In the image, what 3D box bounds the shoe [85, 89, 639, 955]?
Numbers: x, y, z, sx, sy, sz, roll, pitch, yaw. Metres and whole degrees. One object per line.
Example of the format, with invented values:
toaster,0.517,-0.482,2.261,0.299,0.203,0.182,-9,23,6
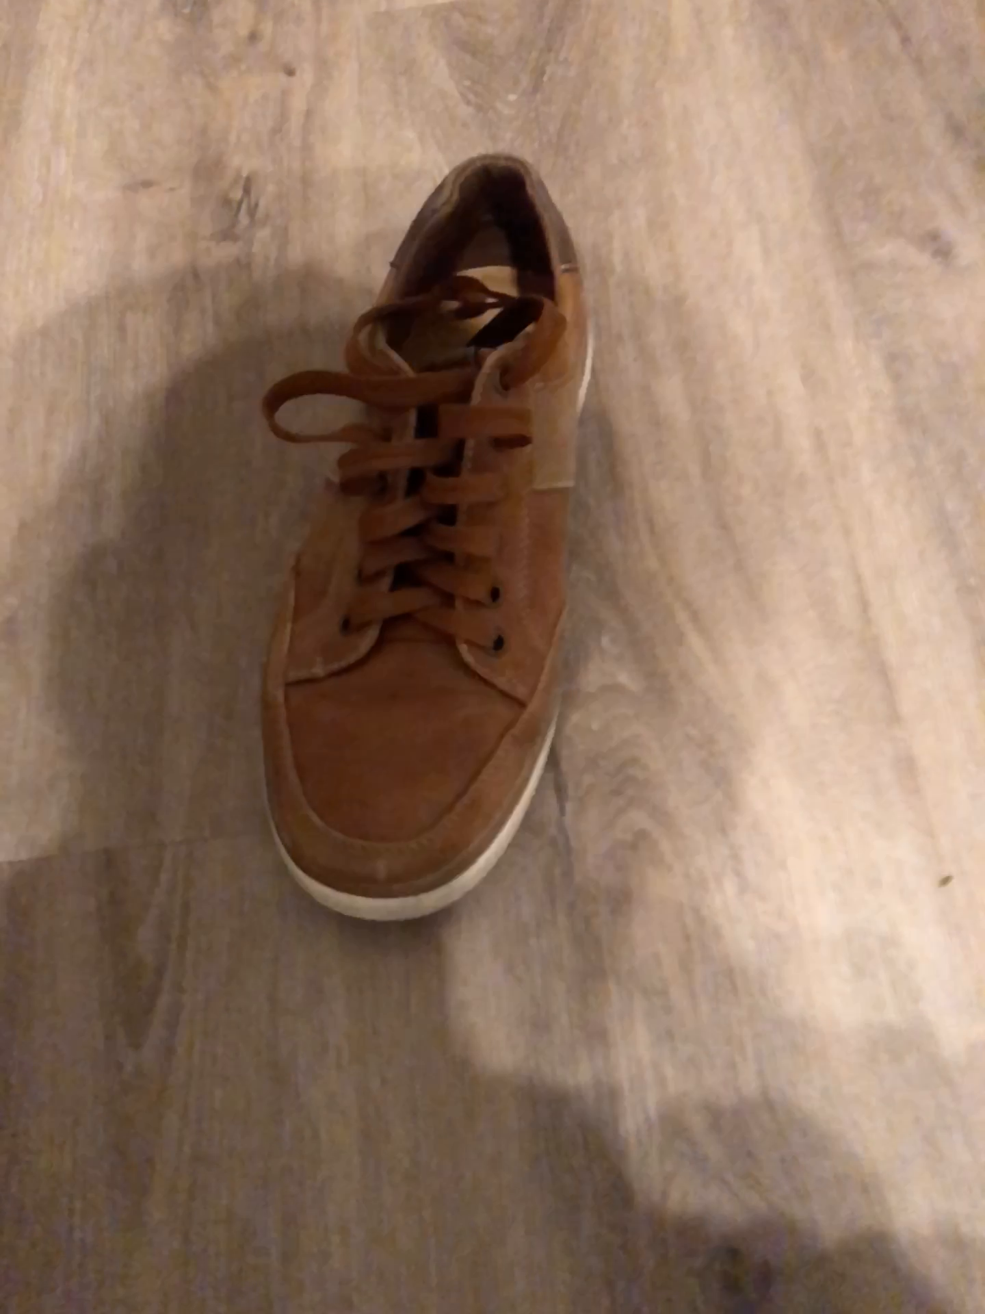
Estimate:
shoe,-0.022,-0.056,0.379,0.110,0.100,0.281,7,64,9
